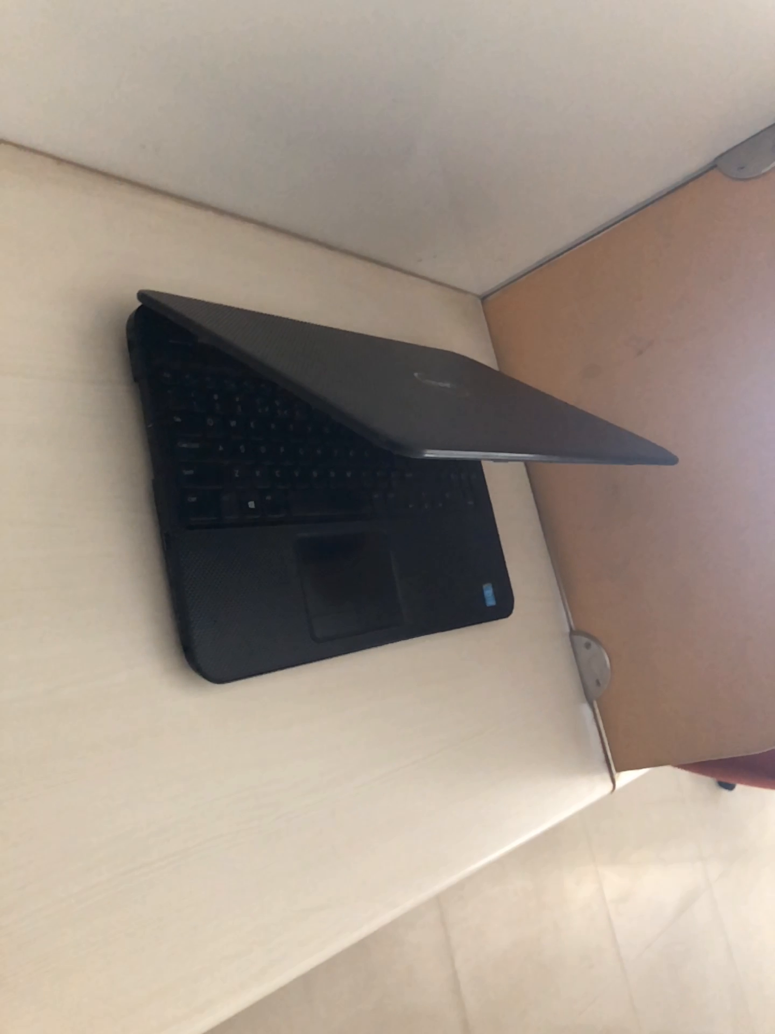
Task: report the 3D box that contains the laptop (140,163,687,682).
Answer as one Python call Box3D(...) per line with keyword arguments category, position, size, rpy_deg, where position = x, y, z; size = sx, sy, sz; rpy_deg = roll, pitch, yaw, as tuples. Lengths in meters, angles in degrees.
Box3D(category="laptop", position=(0.042, -0.049, 0.638), size=(0.366, 0.177, 0.247), rpy_deg=(-3, 76, -52))
